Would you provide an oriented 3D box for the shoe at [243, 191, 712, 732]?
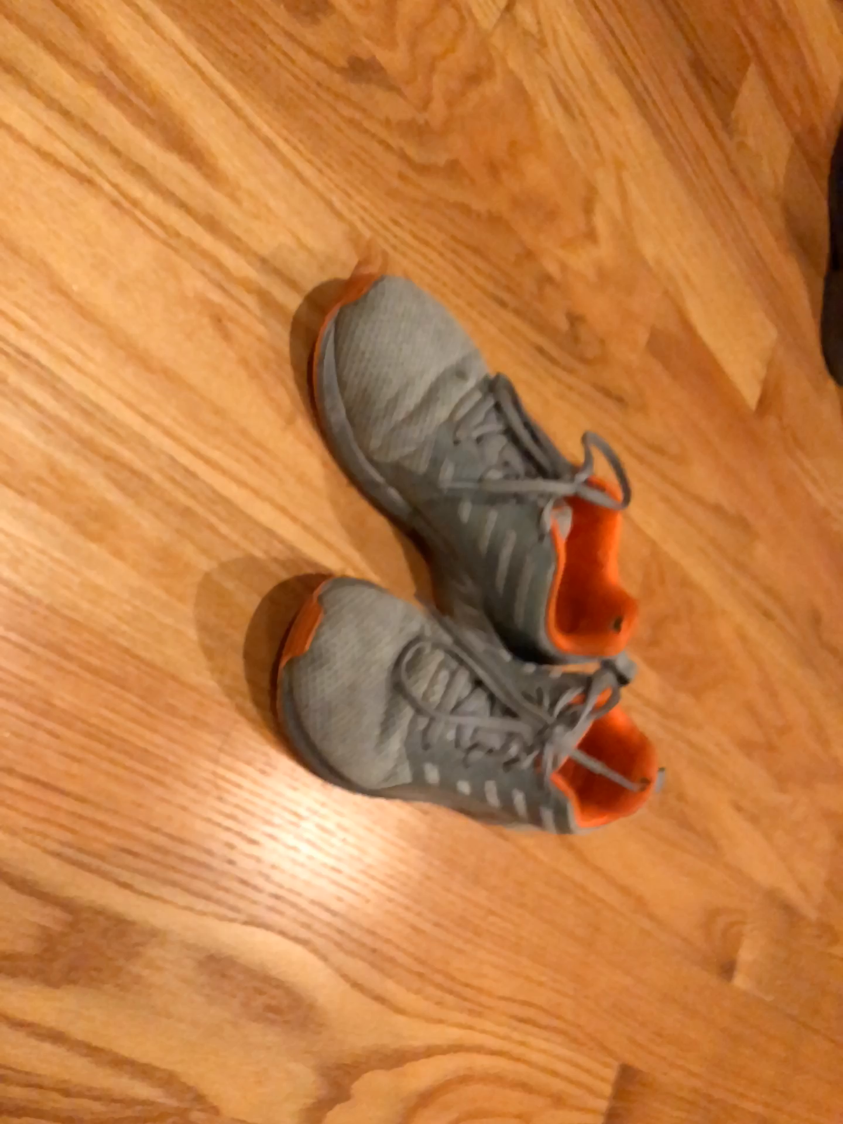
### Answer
[{"bbox_3d":[0.041,-0.038,0.482,0.100,0.100,0.250,-52,122,-30],"label":"shoe"}]

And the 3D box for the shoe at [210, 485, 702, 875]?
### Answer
[{"bbox_3d":[0.034,0.070,0.477,0.251,0.080,0.110,31,69,-38],"label":"shoe"}]
